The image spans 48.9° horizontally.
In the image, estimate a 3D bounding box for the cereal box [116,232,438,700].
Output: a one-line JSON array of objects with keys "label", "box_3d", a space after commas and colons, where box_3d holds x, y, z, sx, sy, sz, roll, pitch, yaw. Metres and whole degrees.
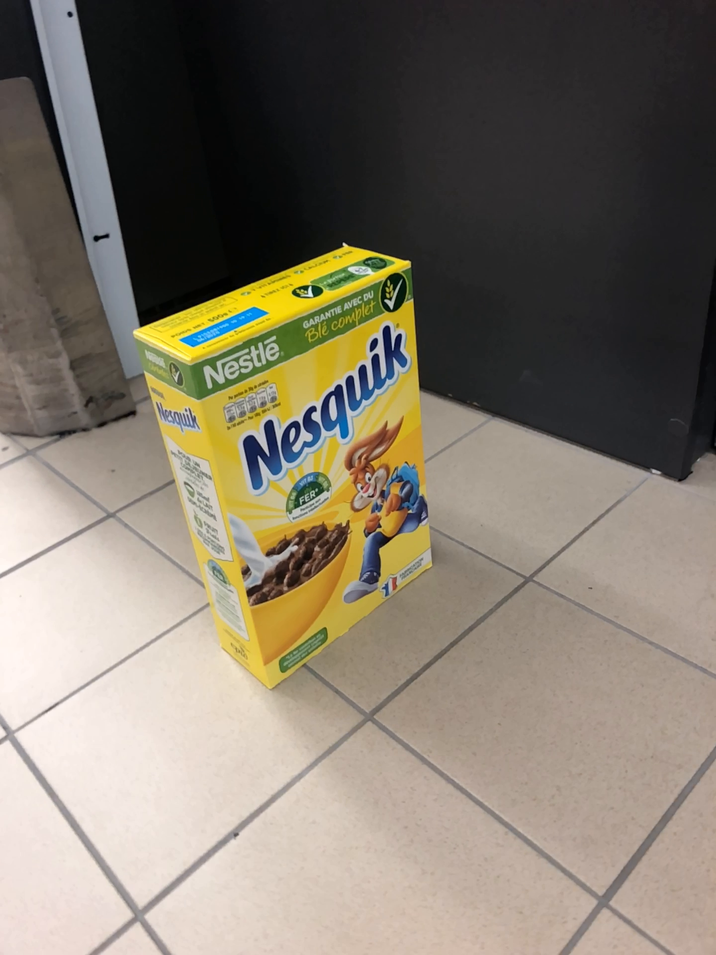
[{"label": "cereal box", "box_3d": [-0.039, -0.006, 0.607, 0.201, 0.298, 0.070, -32, 41, -31]}]
